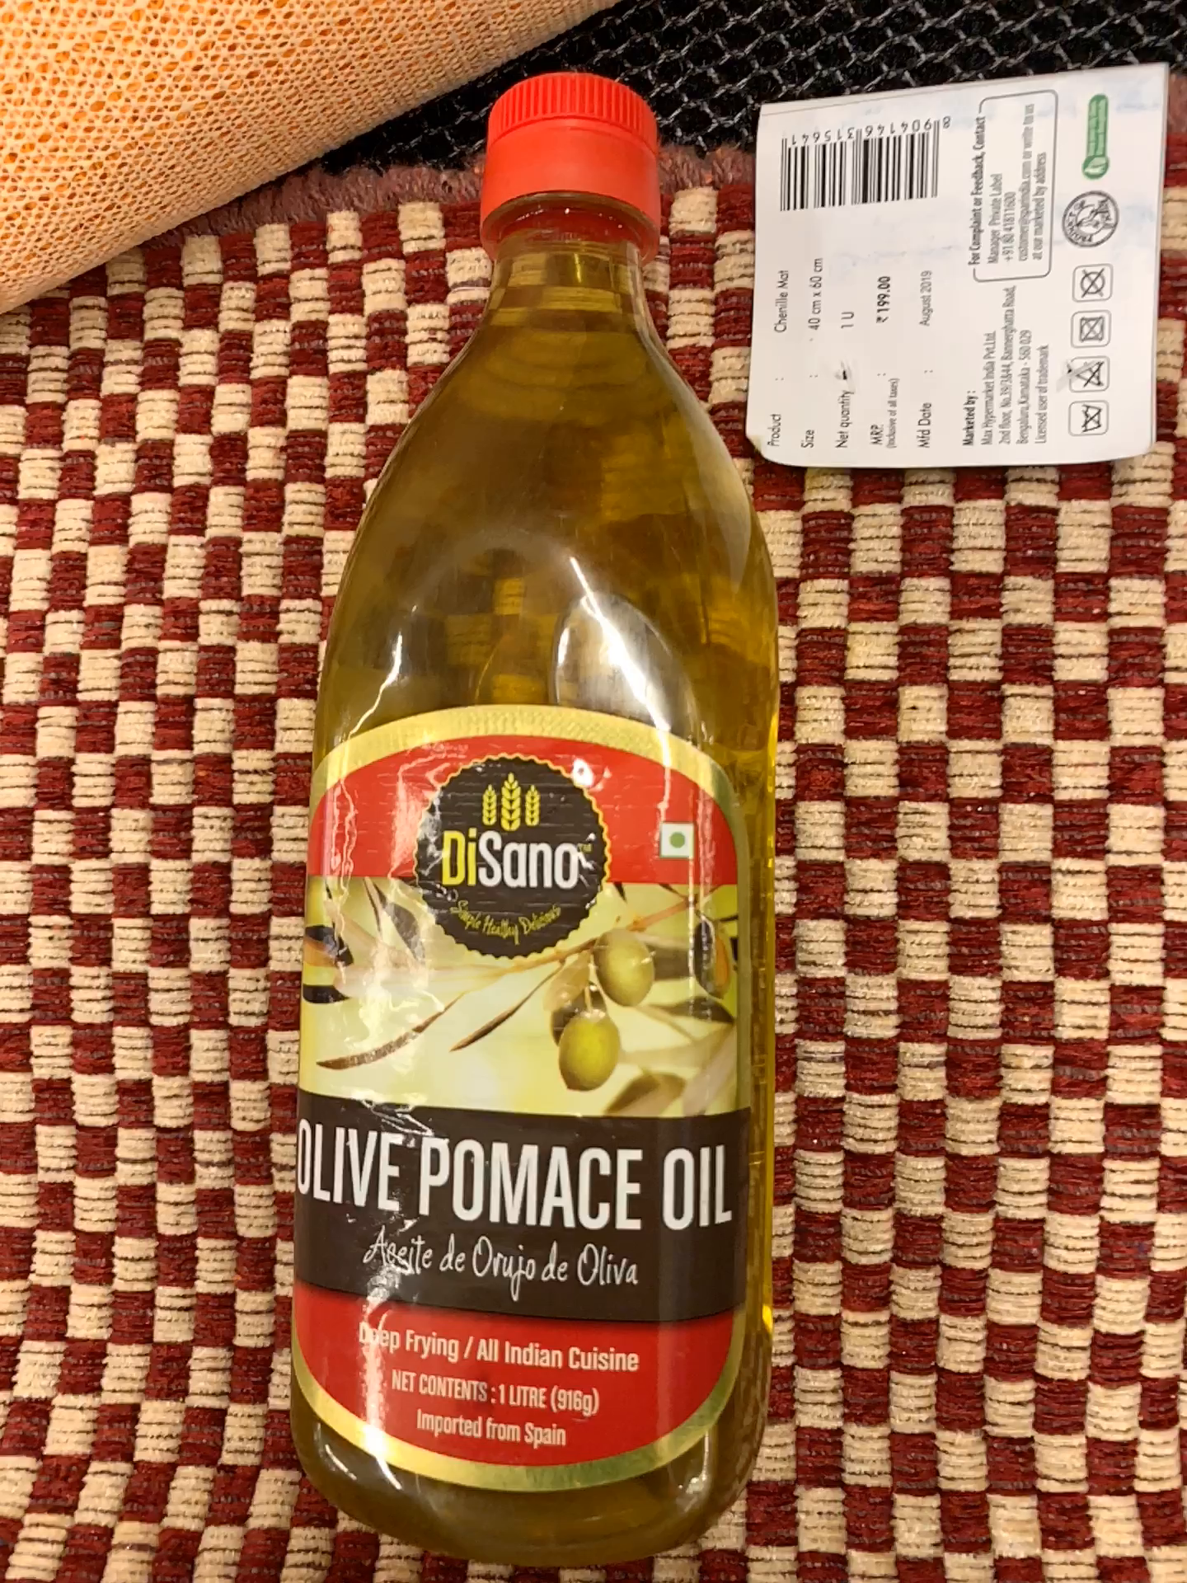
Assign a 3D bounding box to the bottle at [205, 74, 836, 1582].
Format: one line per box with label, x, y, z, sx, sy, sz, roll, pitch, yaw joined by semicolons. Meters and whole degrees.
bottle;-0.006;0.005;0.210;0.080;0.080;0.210;2;87;5
